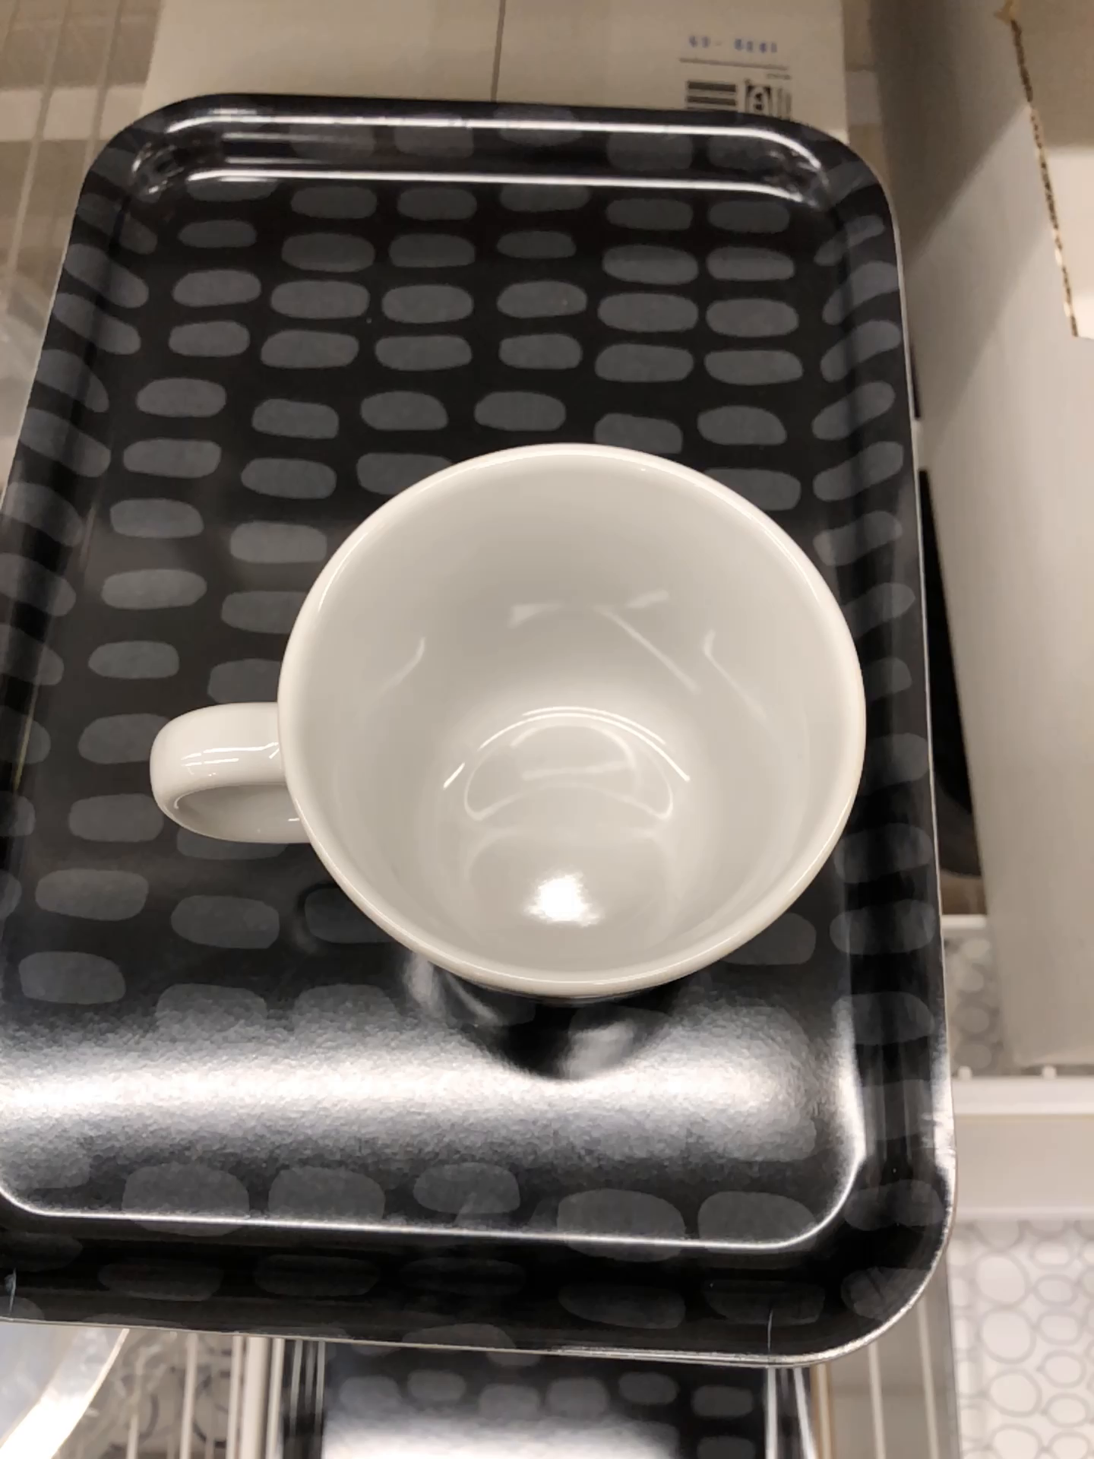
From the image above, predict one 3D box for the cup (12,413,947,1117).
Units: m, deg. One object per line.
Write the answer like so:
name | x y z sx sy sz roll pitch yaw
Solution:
cup | -0.011 0.011 0.213 0.120 0.080 0.090 -4 66 0
